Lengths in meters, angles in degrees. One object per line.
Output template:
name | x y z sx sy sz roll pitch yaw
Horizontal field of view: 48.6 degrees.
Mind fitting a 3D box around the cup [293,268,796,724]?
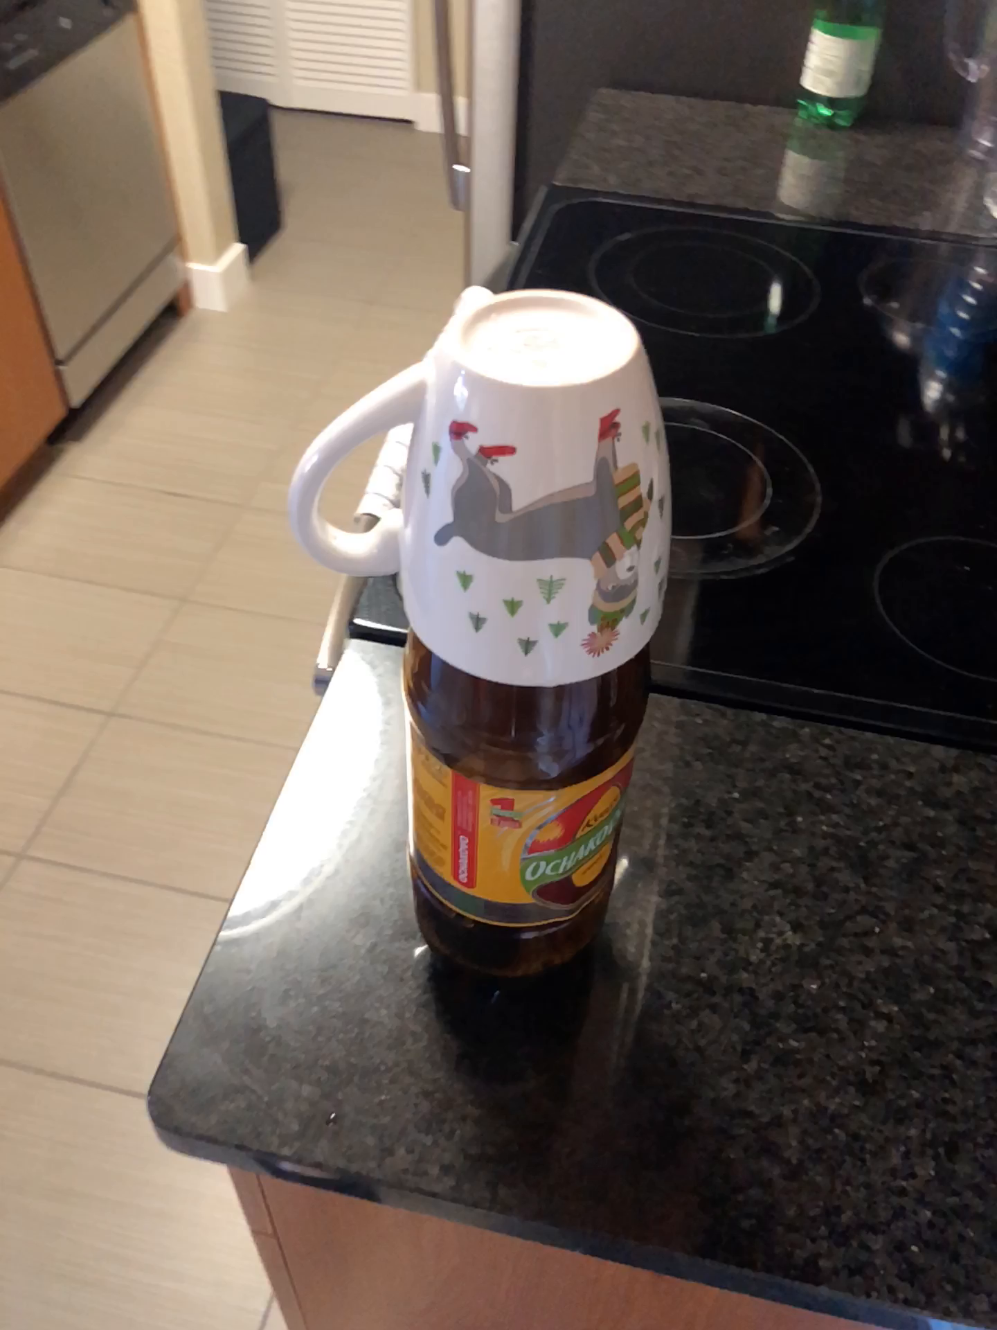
cup | 0.006 -0.060 0.383 0.140 0.110 0.100 -5 47 -9
